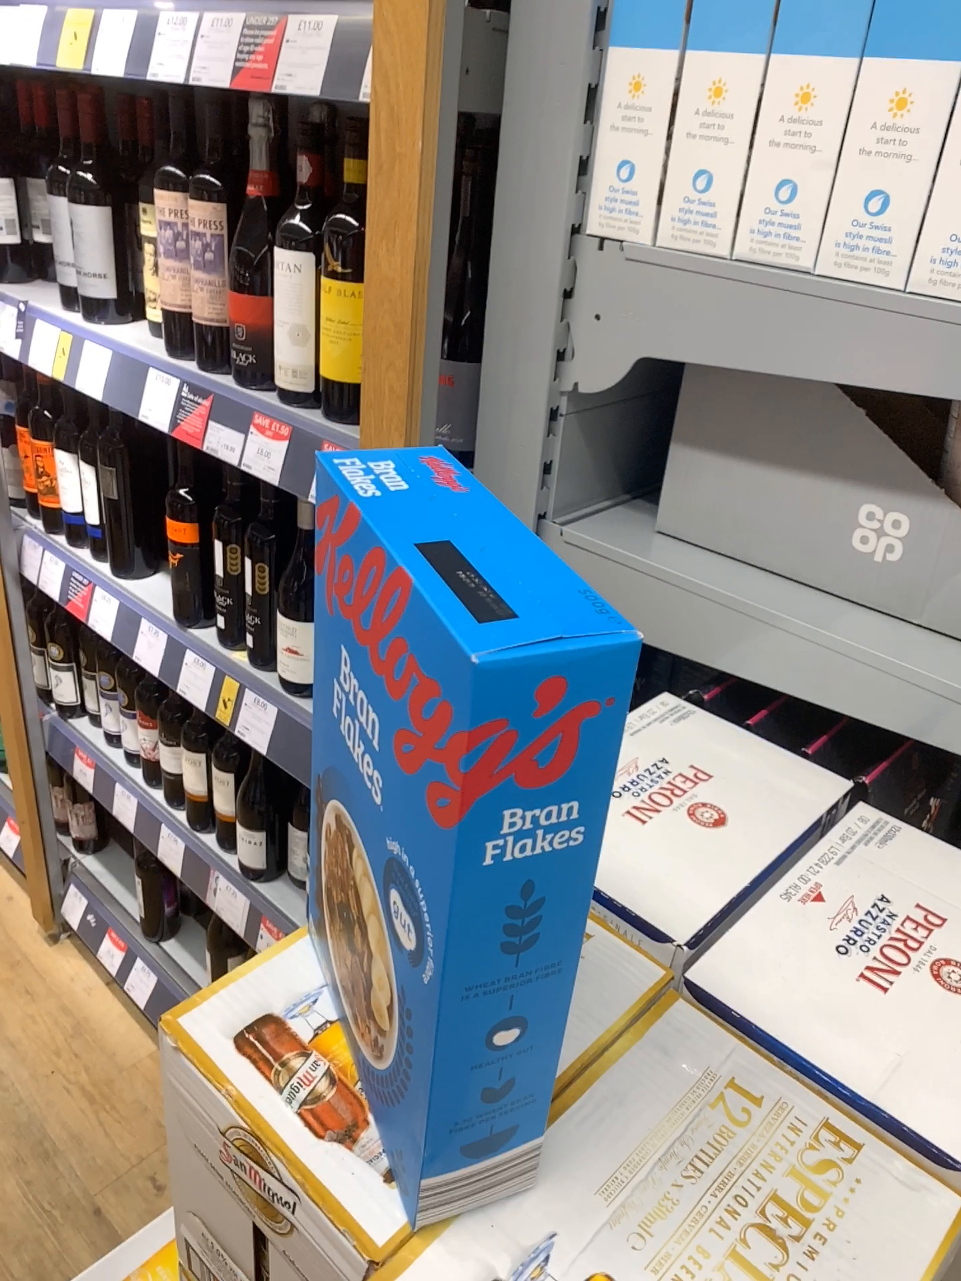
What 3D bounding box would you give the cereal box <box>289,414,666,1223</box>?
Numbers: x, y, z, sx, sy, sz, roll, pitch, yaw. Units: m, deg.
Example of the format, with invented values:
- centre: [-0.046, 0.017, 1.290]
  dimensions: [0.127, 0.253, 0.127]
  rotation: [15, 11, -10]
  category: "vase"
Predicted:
- centre: [-0.027, 0.071, 0.444]
  dimensions: [0.070, 0.287, 0.202]
  rotation: [-7, 32, -23]
  category: "cereal box"
